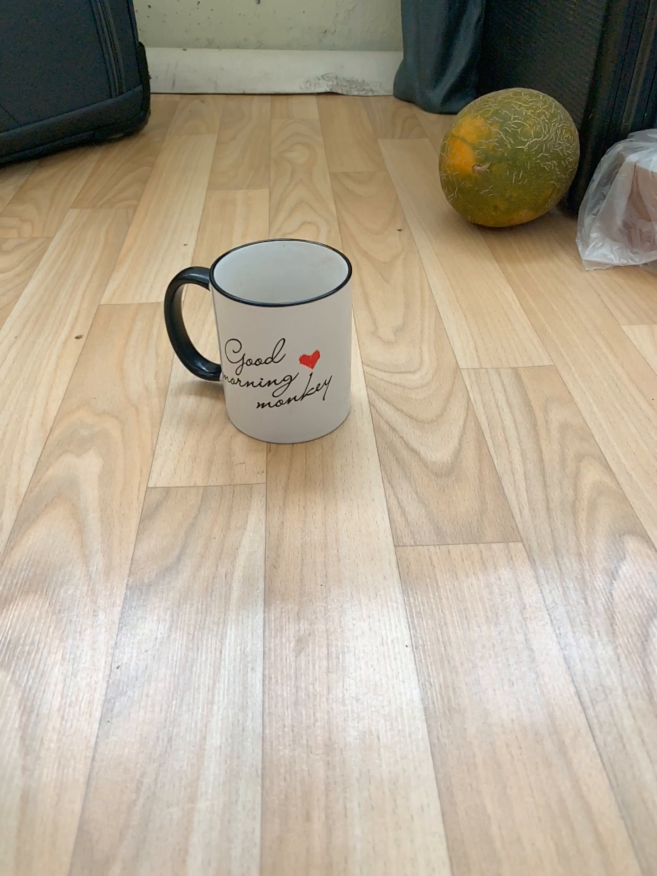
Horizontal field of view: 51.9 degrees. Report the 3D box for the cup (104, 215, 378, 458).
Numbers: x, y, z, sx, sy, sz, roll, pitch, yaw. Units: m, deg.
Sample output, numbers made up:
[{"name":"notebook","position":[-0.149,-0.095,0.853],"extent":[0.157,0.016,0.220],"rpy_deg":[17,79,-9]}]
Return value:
[{"name":"cup","position":[-0.044,-0.061,0.399],"extent":[0.130,0.100,0.080],"rpy_deg":[8,41,9]}]
